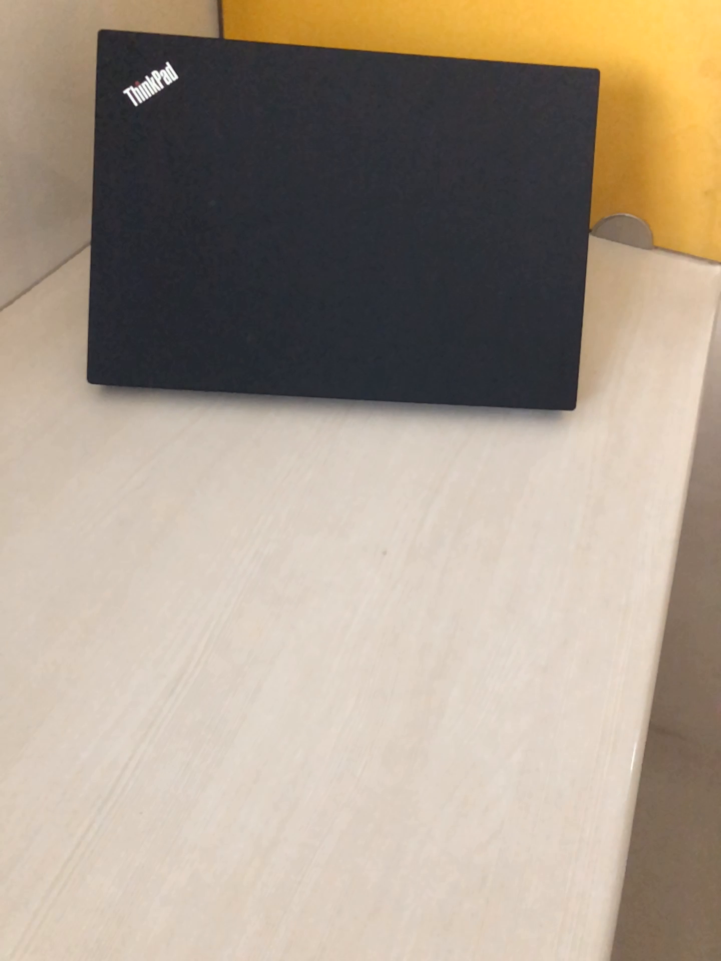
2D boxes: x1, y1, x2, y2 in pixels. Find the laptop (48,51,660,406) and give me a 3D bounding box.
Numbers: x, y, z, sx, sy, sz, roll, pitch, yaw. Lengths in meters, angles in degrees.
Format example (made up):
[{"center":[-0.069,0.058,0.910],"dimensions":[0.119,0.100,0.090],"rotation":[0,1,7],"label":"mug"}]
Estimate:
[{"center":[-0.011,-0.197,0.605],"dimensions":[0.349,0.166,0.241],"rotation":[2,42,-3],"label":"laptop"}]
